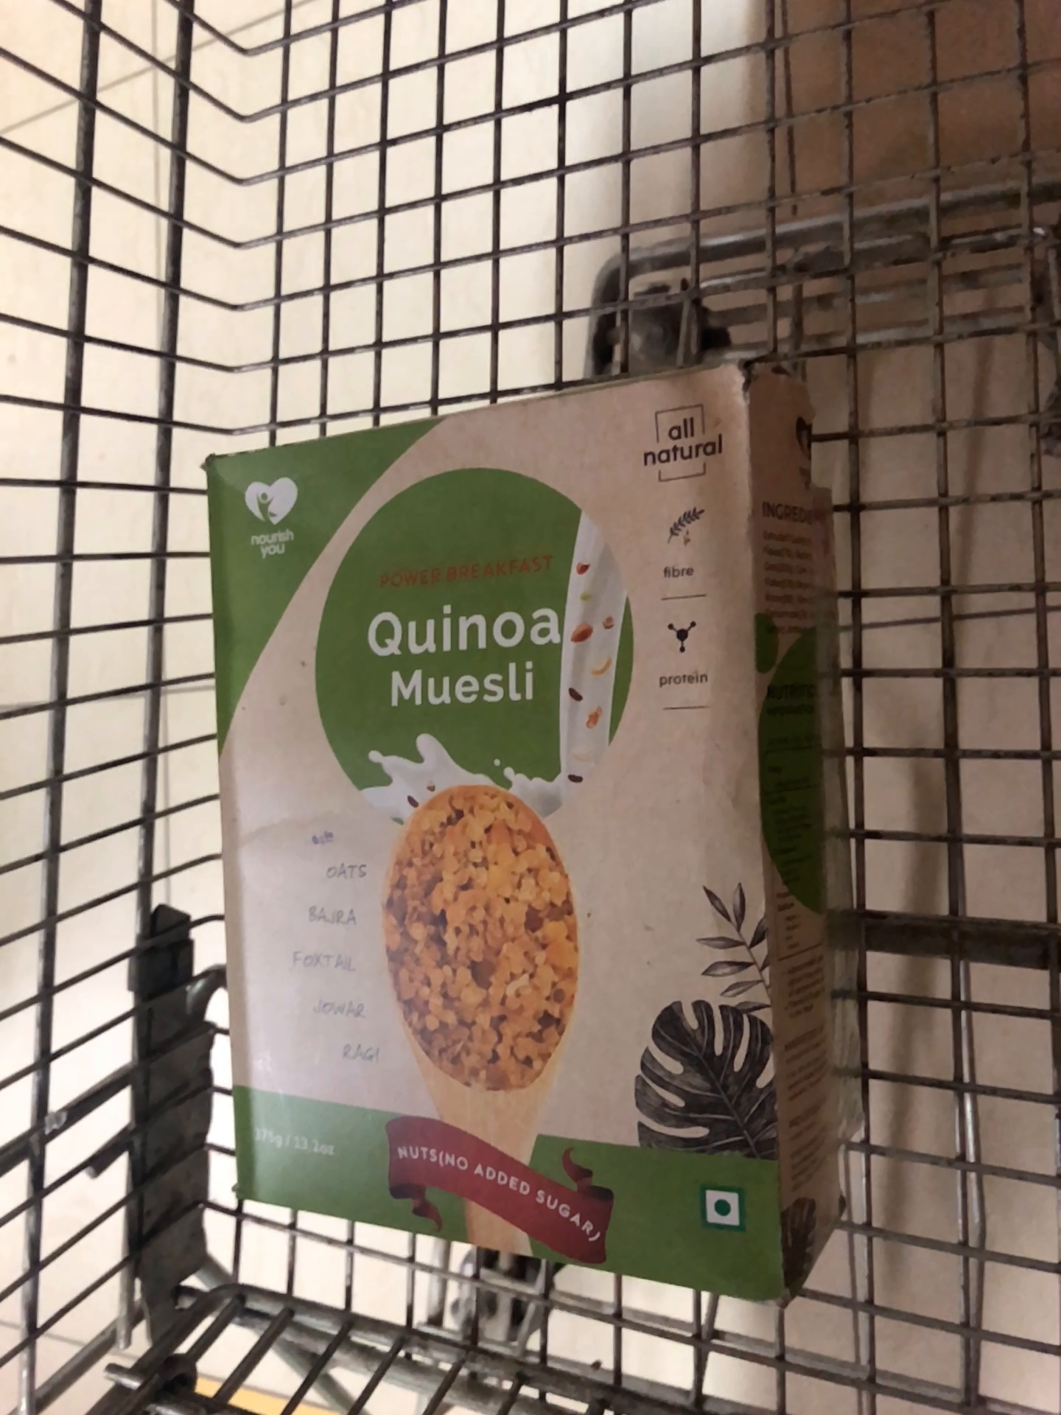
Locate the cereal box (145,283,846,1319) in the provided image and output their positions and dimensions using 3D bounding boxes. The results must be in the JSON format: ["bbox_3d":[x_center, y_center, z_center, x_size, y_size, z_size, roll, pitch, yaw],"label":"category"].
[{"bbox_3d":[-0.011,0.021,0.300,0.160,0.060,0.210,-2,91,26],"label":"cereal box"}]
